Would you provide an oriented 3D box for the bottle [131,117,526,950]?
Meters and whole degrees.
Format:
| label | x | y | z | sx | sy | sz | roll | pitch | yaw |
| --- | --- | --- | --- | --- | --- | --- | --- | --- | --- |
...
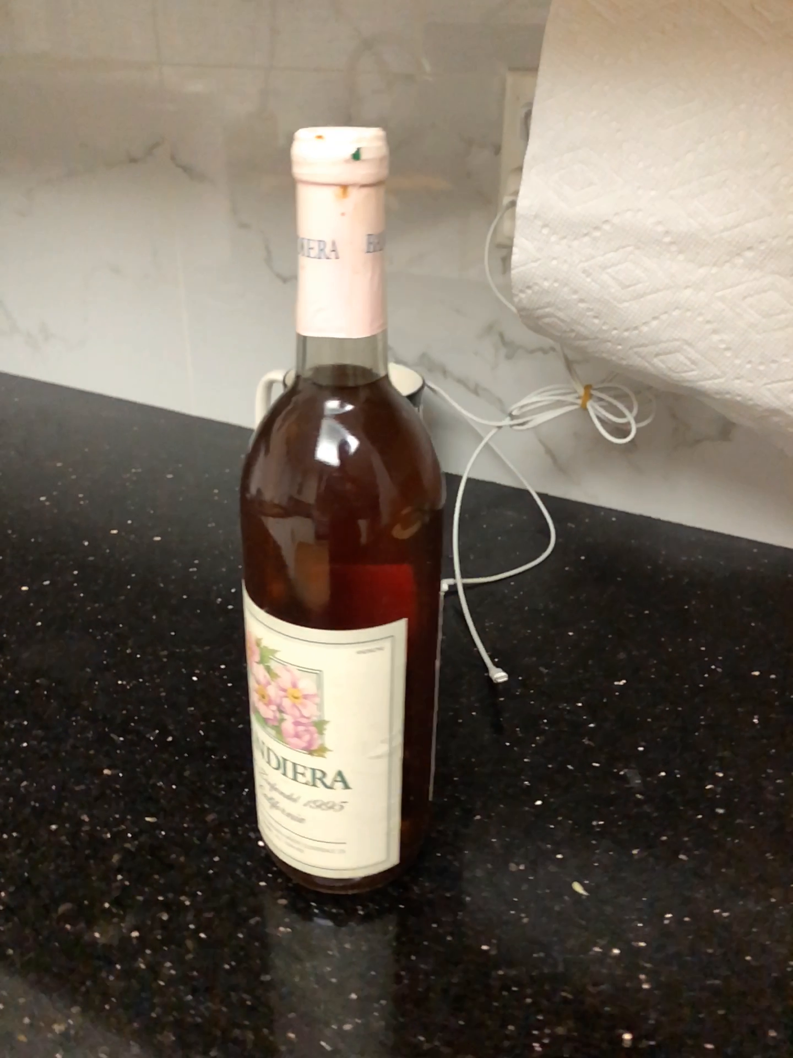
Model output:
| label | x | y | z | sx | sy | sz | roll | pitch | yaw |
| --- | --- | --- | --- | --- | --- | --- | --- | --- | --- |
| bottle | -0.023 | 0.009 | 0.316 | 0.080 | 0.278 | 0.080 | 1 | 28 | -1 |
